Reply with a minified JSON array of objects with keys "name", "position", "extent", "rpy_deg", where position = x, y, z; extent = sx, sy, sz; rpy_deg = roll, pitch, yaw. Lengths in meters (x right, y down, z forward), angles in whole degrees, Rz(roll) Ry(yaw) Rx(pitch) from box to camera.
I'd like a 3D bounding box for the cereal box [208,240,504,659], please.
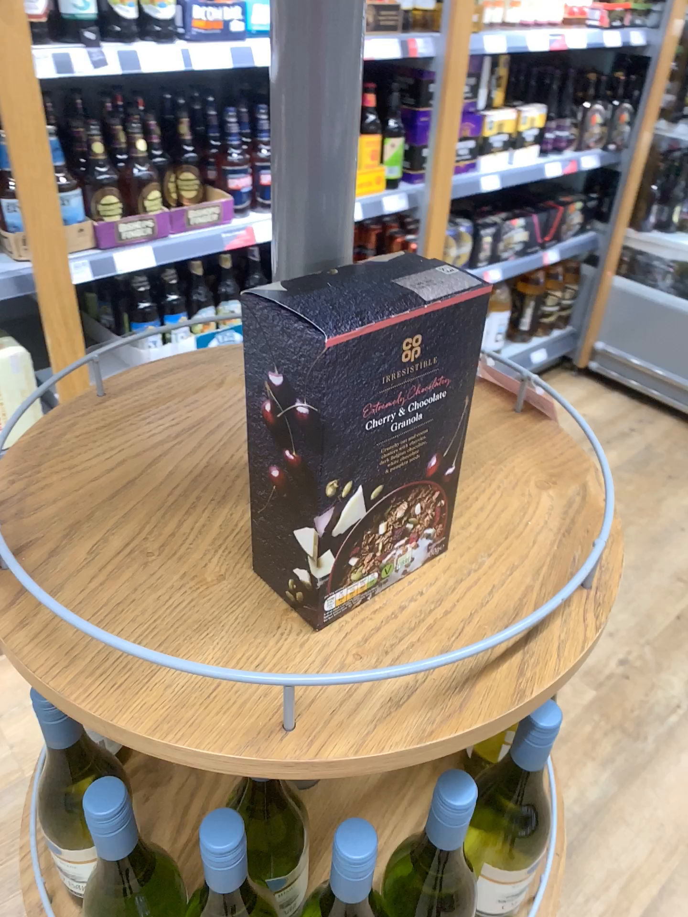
[{"name":"cereal box","position":[0.004,-0.007,0.454],"extent":[0.141,0.218,0.090],"rpy_deg":[-25,44,-34]}]
